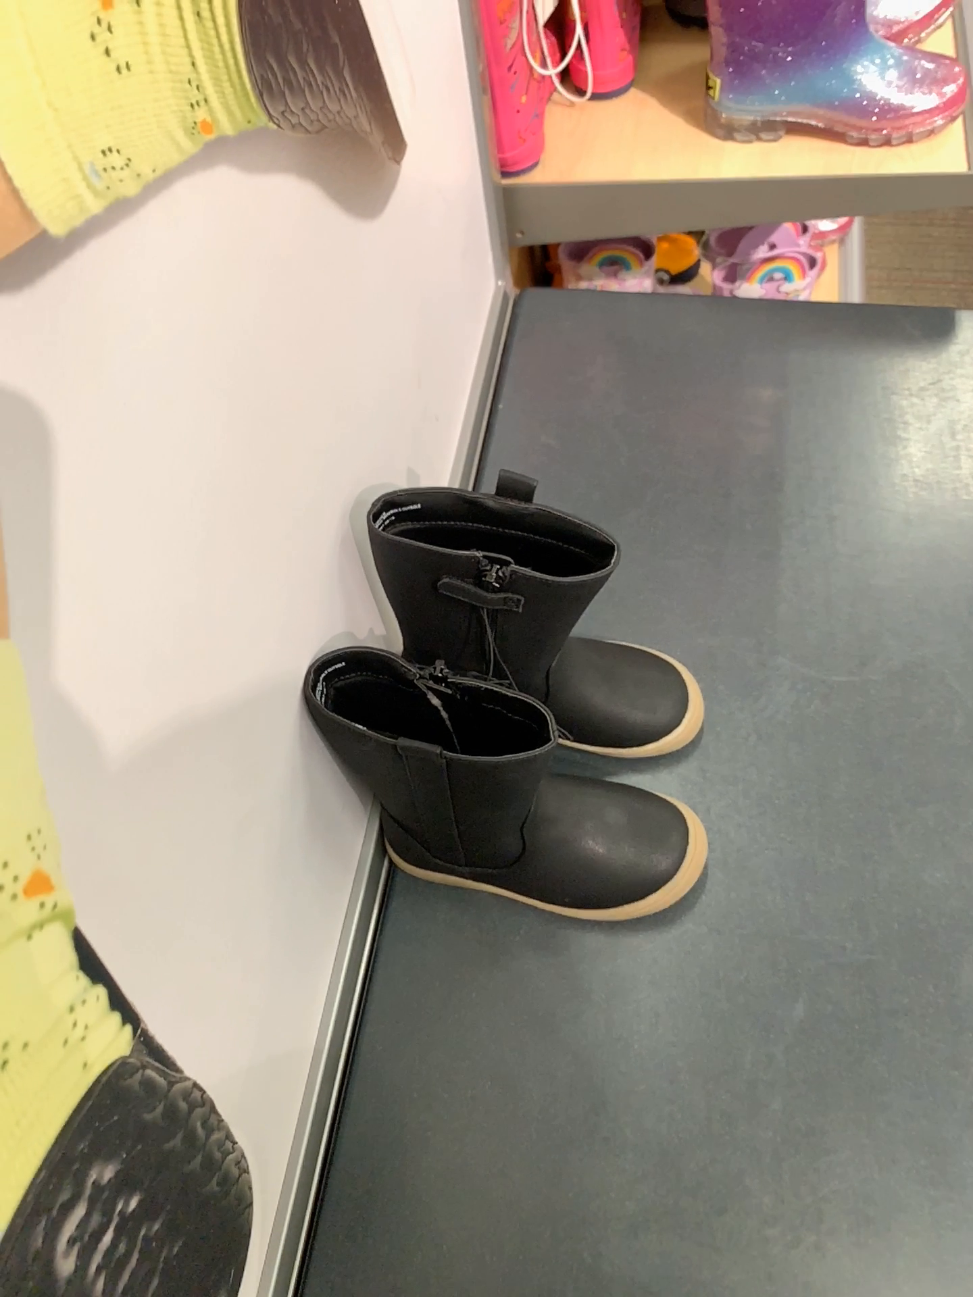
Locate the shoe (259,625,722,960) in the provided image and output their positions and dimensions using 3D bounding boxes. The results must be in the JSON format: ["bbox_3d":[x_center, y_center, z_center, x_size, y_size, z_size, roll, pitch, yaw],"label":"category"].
[{"bbox_3d":[0.013,0.083,0.525,0.190,0.200,0.080,8,63,12],"label":"shoe"}]

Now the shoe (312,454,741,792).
[{"bbox_3d":[0.030,-0.006,0.557,0.190,0.200,0.080,6,63,11],"label":"shoe"}]
